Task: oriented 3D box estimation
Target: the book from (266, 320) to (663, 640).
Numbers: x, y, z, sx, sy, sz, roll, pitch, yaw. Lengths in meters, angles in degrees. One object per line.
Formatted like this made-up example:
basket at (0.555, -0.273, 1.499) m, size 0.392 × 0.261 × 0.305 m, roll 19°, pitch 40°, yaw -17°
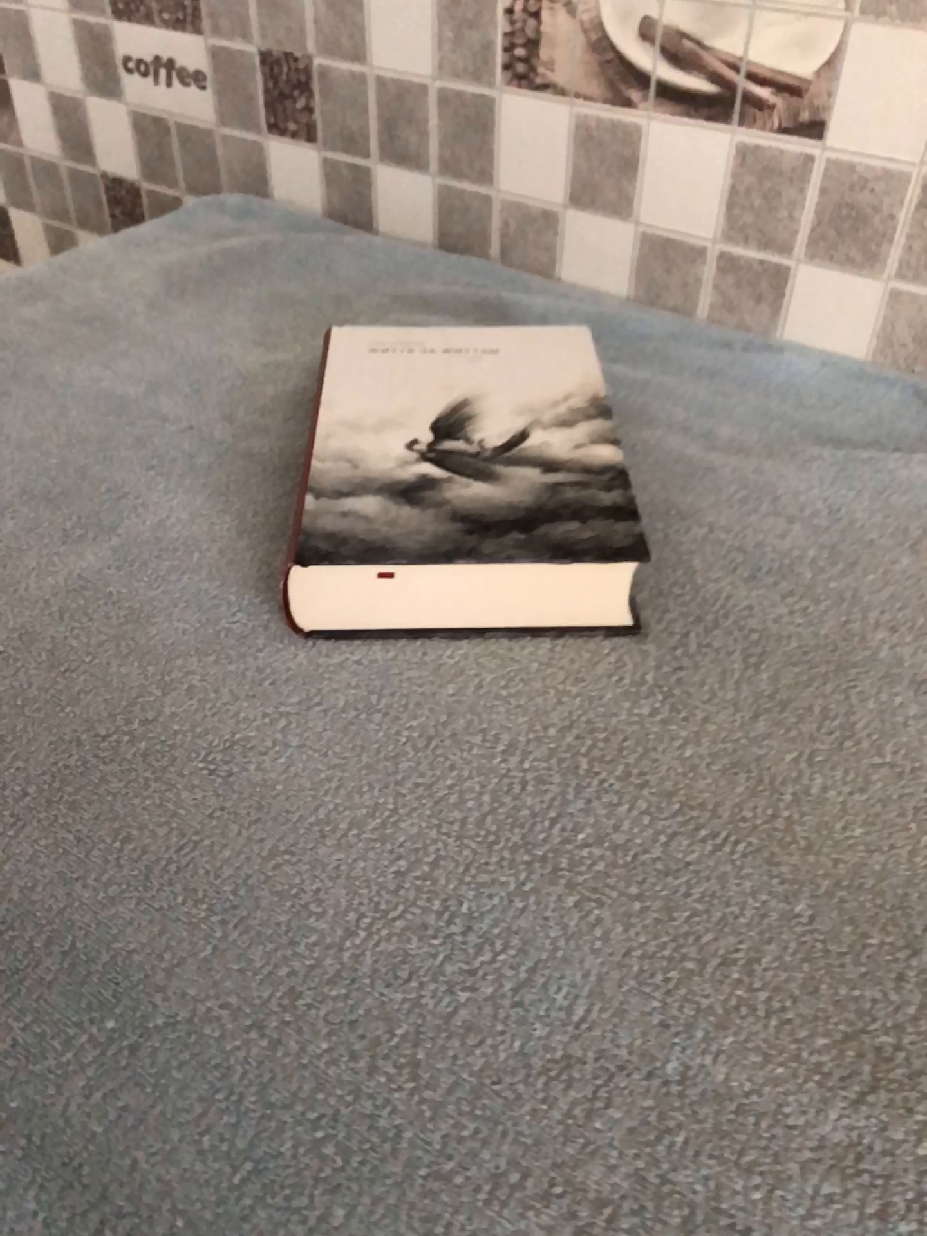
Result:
book at (-0.002, -0.078, 0.499) m, size 0.155 × 0.040 × 0.222 m, roll 0°, pitch 41°, yaw -2°
